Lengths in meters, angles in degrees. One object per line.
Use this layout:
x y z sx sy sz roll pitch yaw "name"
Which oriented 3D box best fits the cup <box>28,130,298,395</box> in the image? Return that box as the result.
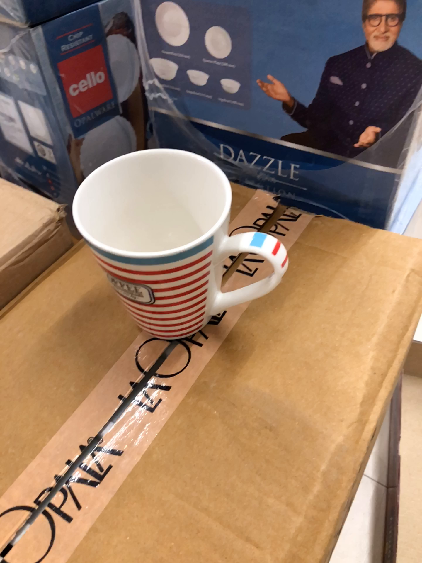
-0.018 -0.013 0.274 0.110 0.099 0.091 14 49 17 "cup"
